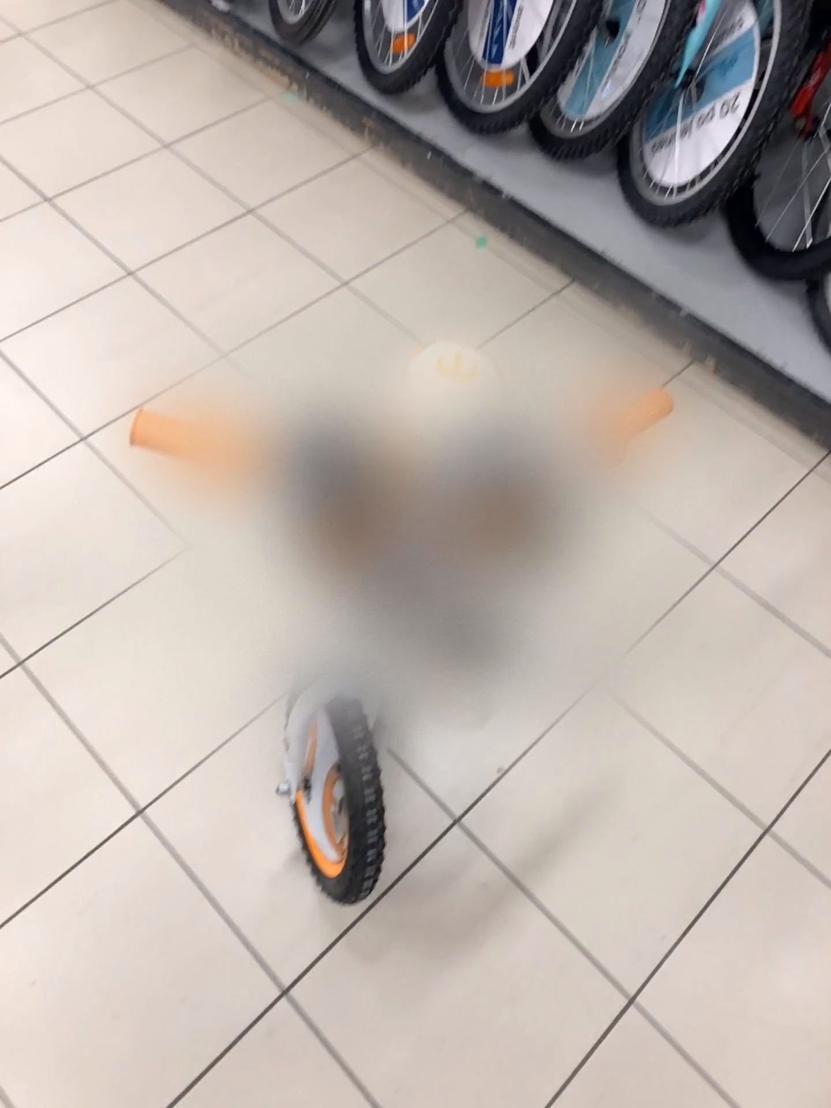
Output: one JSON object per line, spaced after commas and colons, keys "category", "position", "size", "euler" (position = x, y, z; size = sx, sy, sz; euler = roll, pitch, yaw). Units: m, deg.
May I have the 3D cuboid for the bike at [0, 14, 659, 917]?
{"category": "bike", "position": [-0.032, -0.064, 1.113], "size": [0.435, 0.714, 0.818], "euler": [9, 58, 2]}
